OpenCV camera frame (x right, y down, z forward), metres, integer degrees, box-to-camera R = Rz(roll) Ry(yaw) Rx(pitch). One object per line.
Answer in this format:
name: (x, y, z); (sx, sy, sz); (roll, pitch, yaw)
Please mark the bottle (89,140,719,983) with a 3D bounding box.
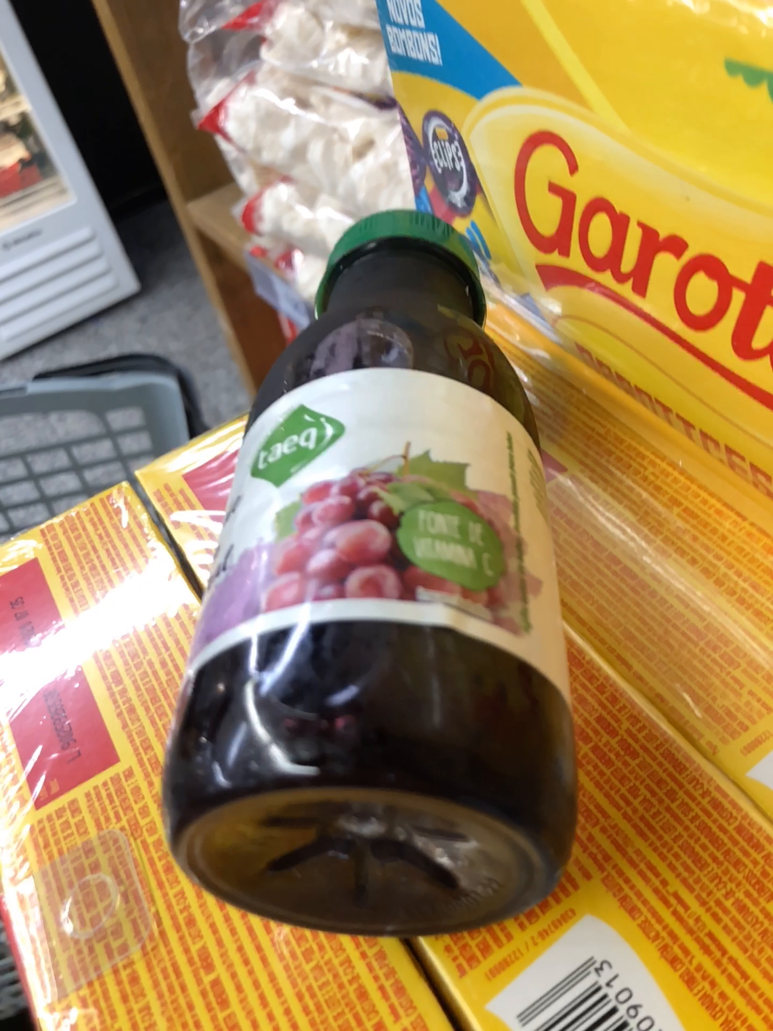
bottle: (0.010, -0.009, 0.172); (0.070, 0.050, 0.171); (-6, 45, 10)
